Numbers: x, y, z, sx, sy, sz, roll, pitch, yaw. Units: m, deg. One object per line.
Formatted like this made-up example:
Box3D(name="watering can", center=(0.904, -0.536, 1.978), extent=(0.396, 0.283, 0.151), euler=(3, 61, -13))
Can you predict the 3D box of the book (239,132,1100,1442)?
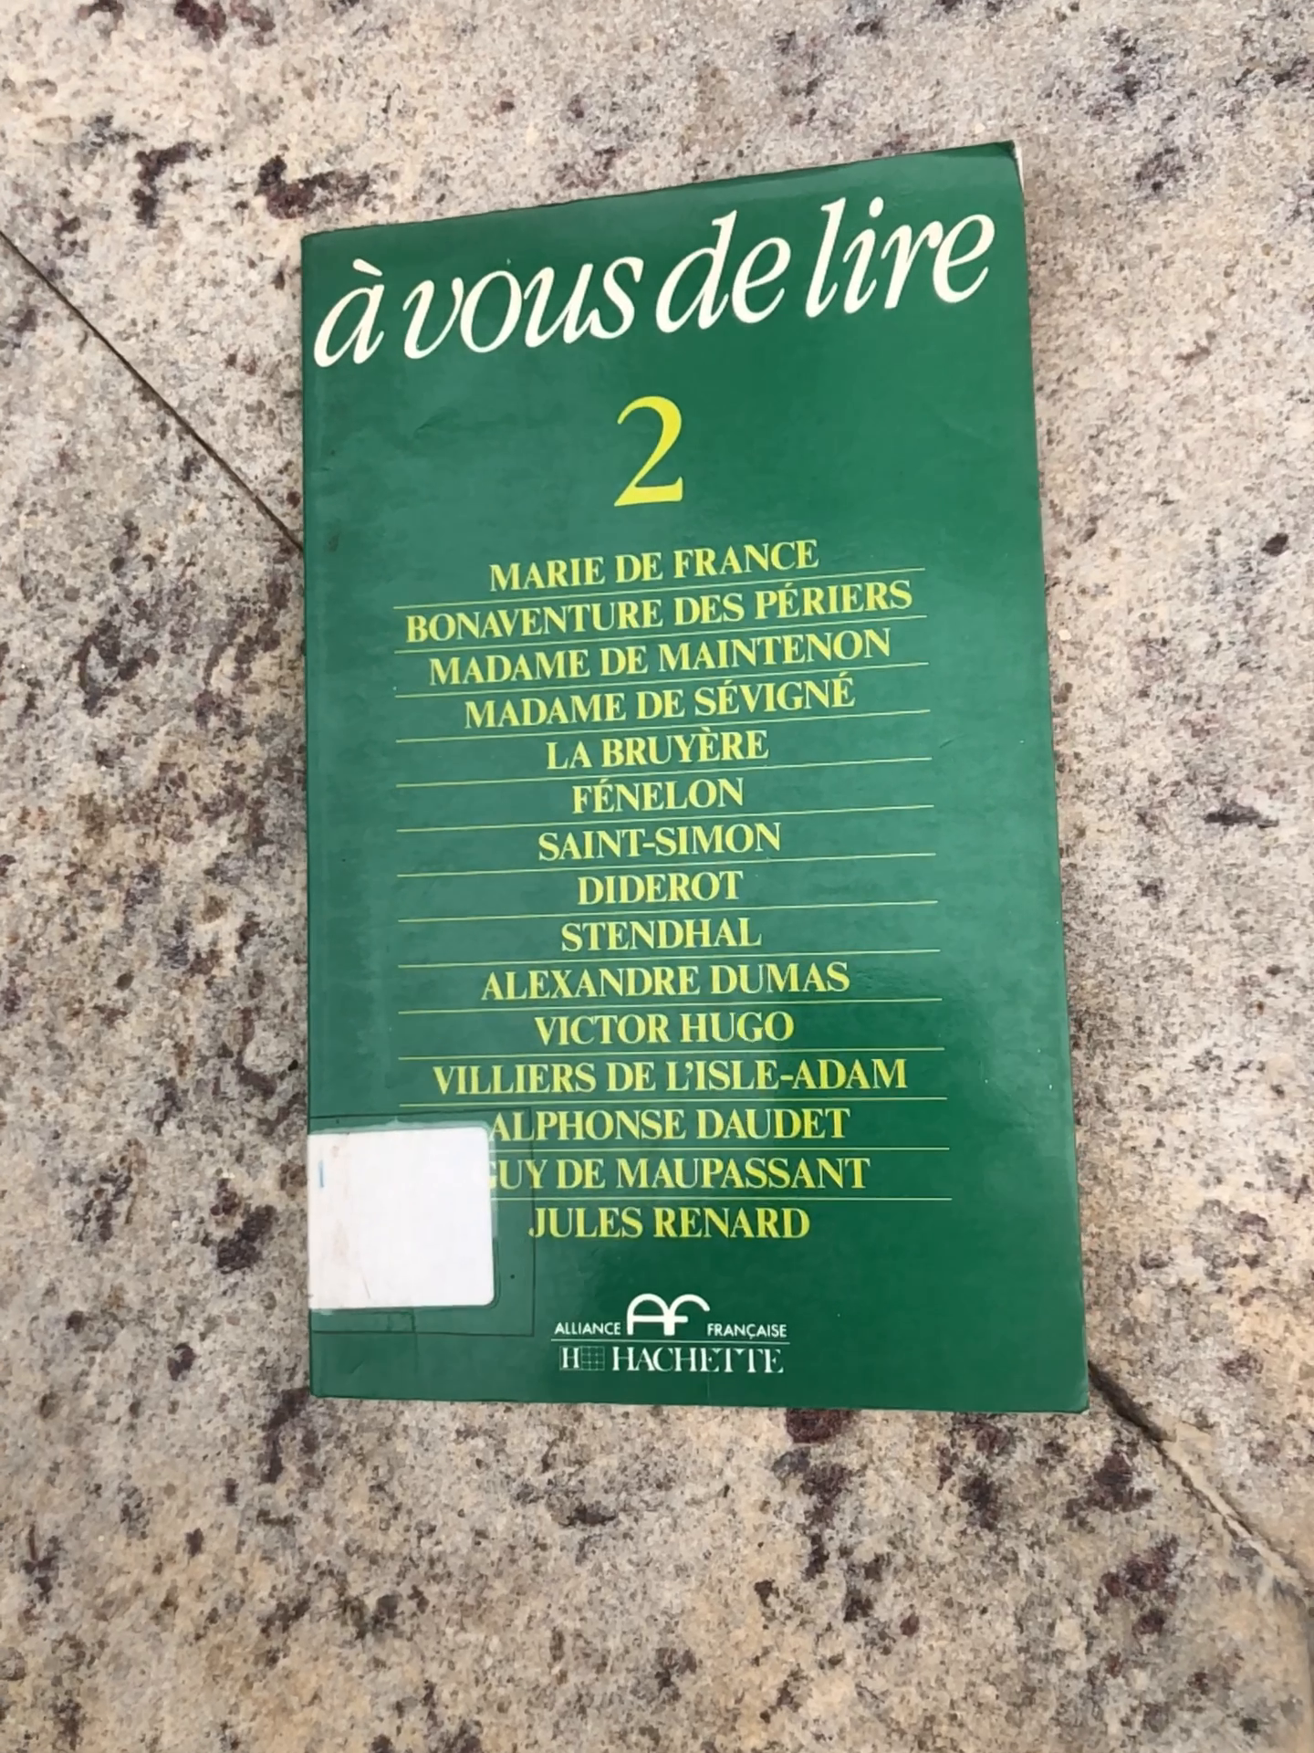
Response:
Box3D(name="book", center=(-0.002, -0.016, 0.253), extent=(0.140, 0.017, 0.210), euler=(-3, 83, 12))
